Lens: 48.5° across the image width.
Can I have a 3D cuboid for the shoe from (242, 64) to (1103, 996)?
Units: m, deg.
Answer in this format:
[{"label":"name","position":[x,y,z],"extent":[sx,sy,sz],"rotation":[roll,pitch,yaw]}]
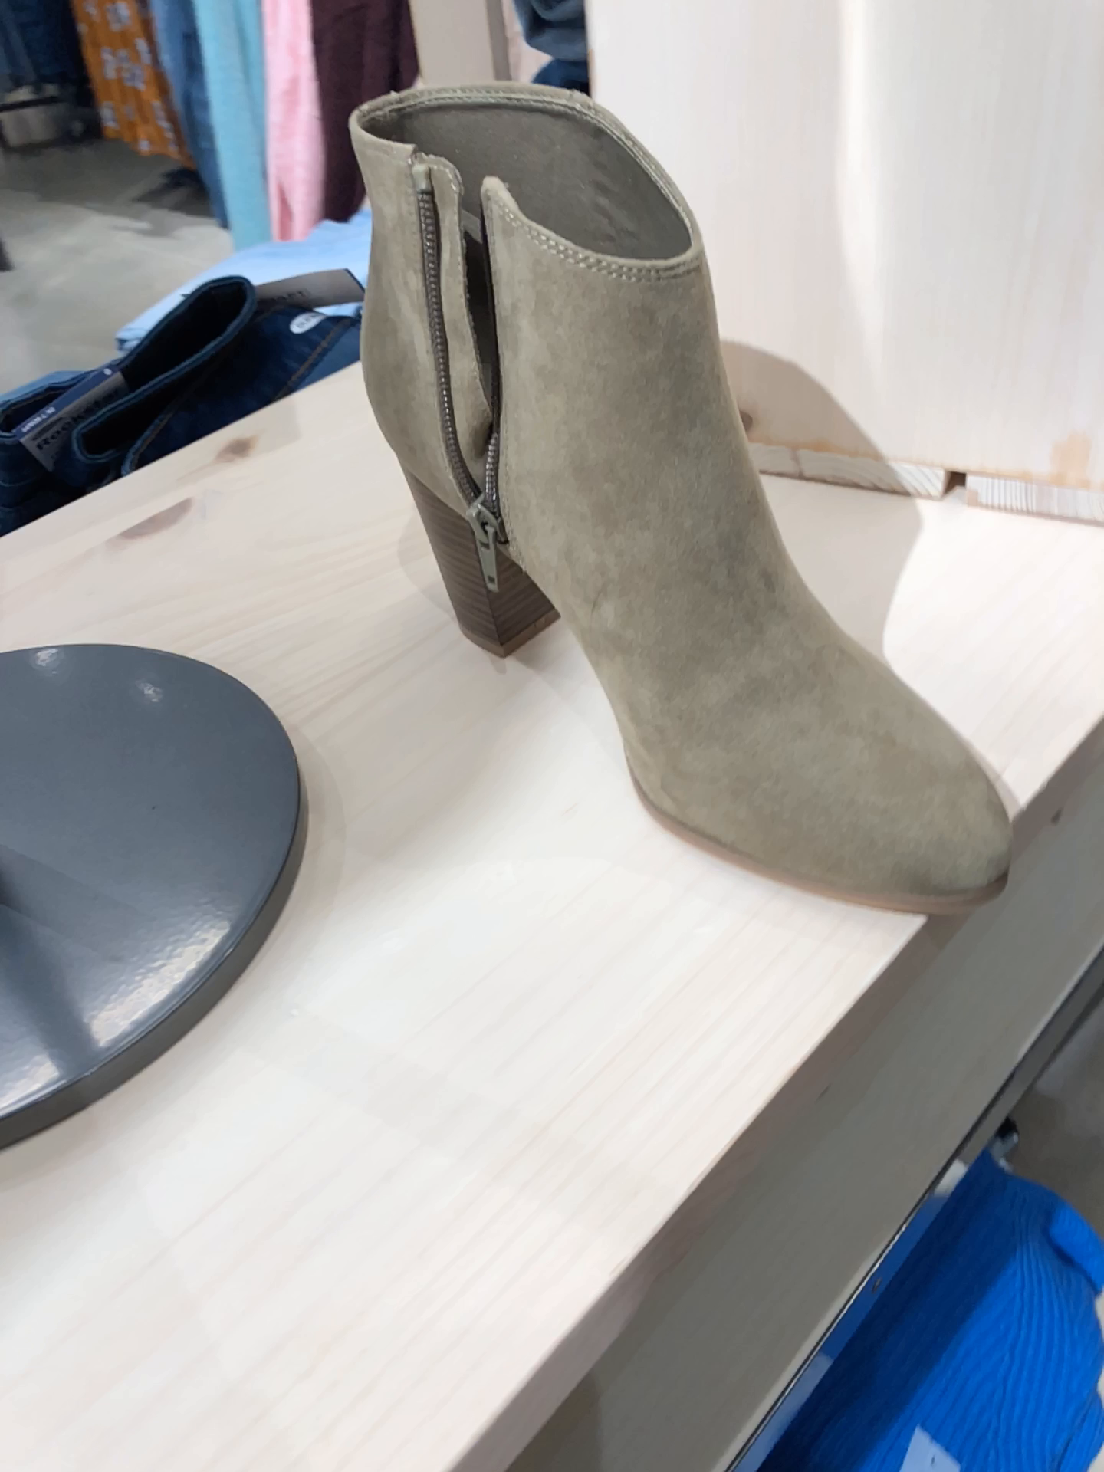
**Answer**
[{"label":"shoe","position":[0.031,-0.072,0.343],"extent":[0.090,0.169,0.231],"rotation":[-32,46,-27]}]
